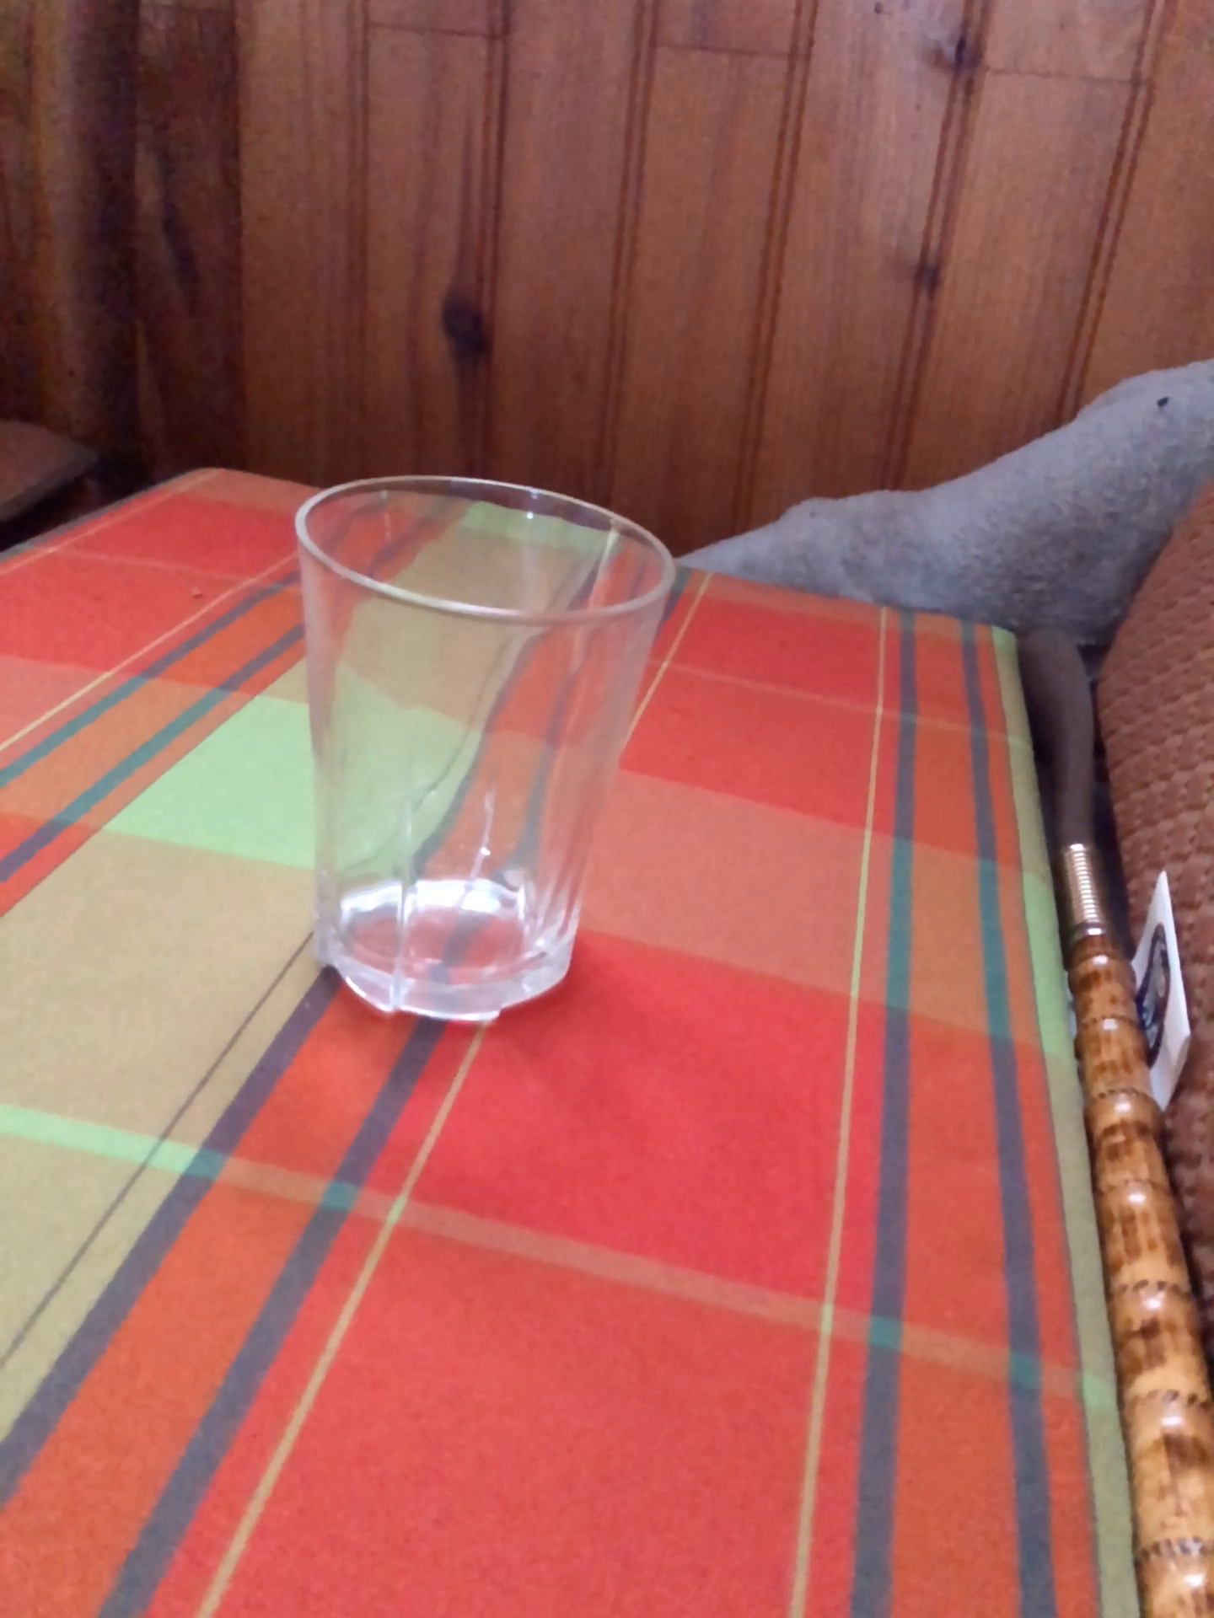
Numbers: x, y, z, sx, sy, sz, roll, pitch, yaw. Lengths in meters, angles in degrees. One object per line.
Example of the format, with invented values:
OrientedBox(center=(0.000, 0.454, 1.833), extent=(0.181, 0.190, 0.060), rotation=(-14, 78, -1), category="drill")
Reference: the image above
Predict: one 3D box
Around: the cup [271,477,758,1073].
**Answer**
OrientedBox(center=(-0.022, -0.007, 0.241), extent=(0.070, 0.079, 0.070), rotation=(6, 31, -3), category="cup")
